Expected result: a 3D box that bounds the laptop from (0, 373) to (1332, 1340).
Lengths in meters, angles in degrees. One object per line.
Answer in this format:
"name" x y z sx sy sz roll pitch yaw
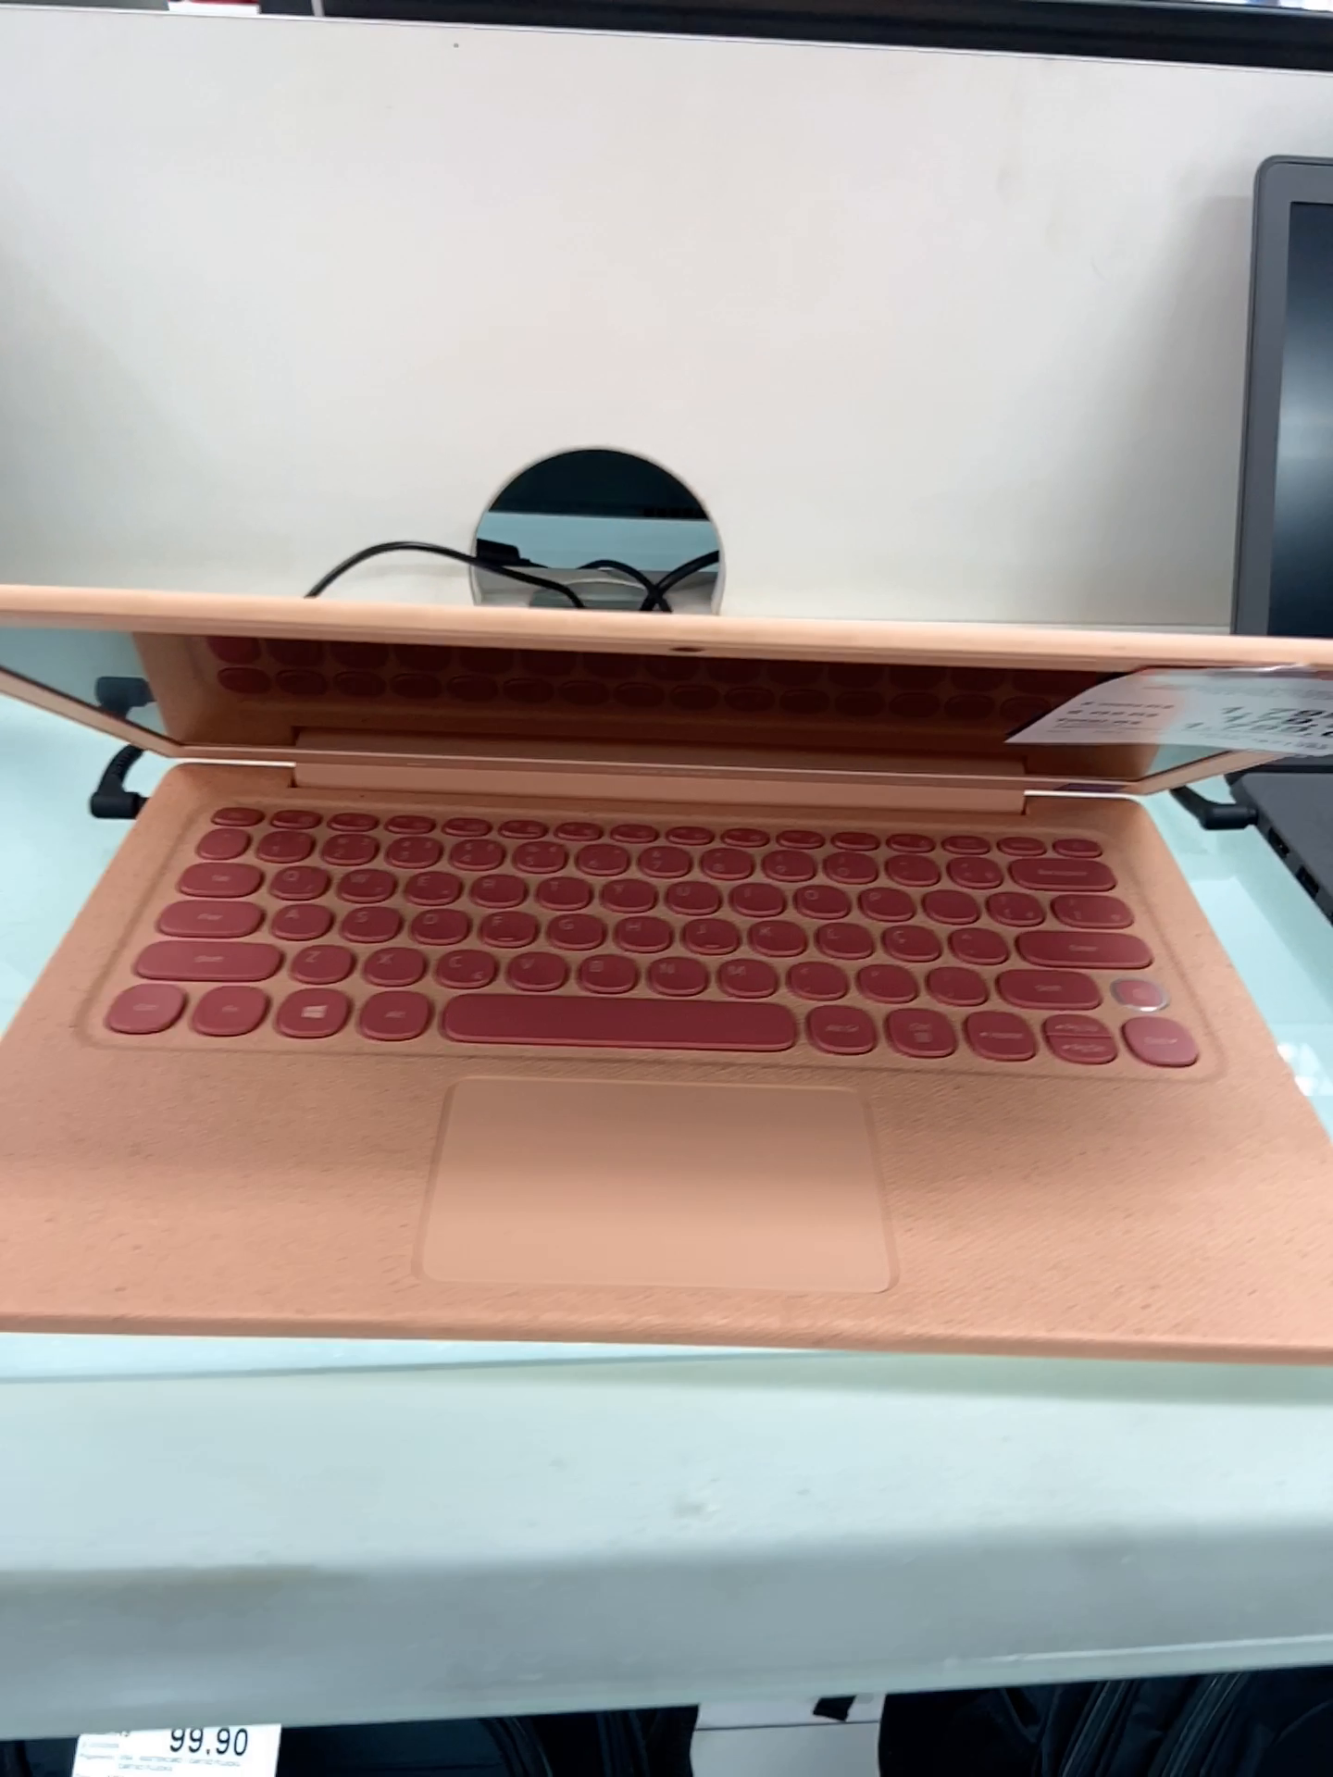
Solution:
"laptop" -0.001 -0.025 0.332 0.323 0.129 0.212 2 34 -1
